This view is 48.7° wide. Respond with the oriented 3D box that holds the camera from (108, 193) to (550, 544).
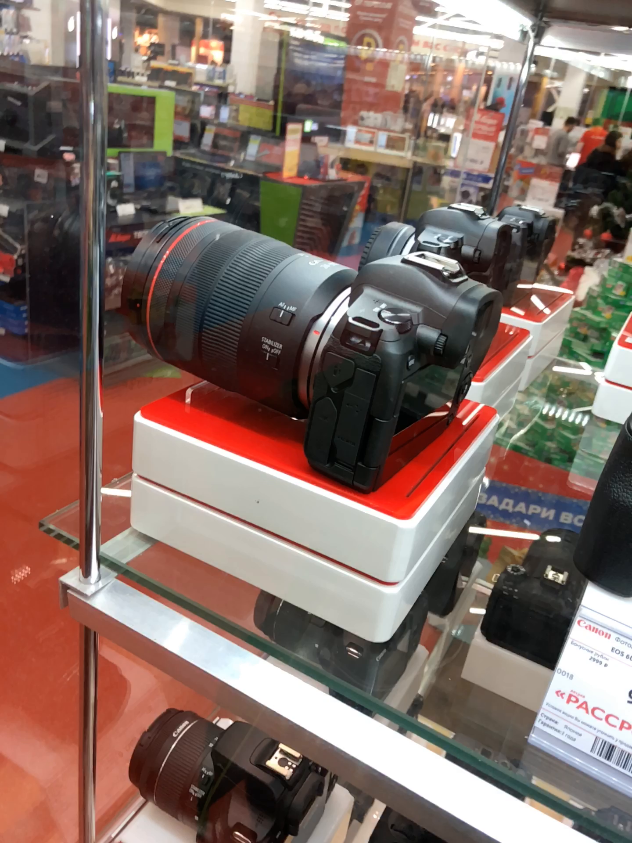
[{"bbox_3d":[0.006,-0.047,0.383,0.183,0.110,0.141,21,28,23],"label":"camera"}]
